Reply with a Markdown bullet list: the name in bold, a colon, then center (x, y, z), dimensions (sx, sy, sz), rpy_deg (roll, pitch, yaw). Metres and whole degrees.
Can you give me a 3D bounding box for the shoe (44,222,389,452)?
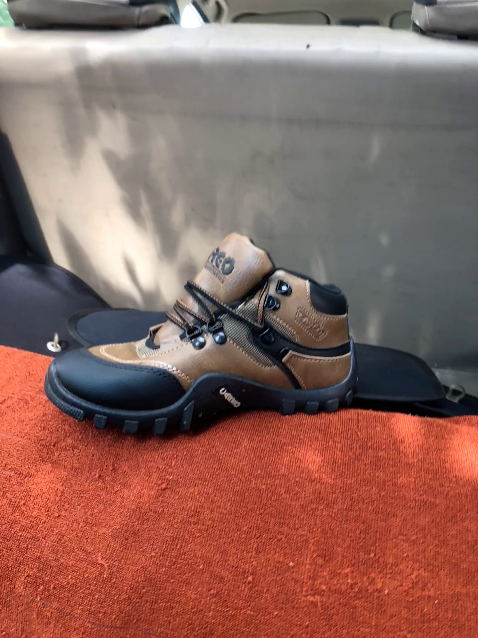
- **shoe**: center (-0.021, 0.000, 0.467), dimensions (0.271, 0.149, 0.110), rpy_deg (-4, 18, -26)
